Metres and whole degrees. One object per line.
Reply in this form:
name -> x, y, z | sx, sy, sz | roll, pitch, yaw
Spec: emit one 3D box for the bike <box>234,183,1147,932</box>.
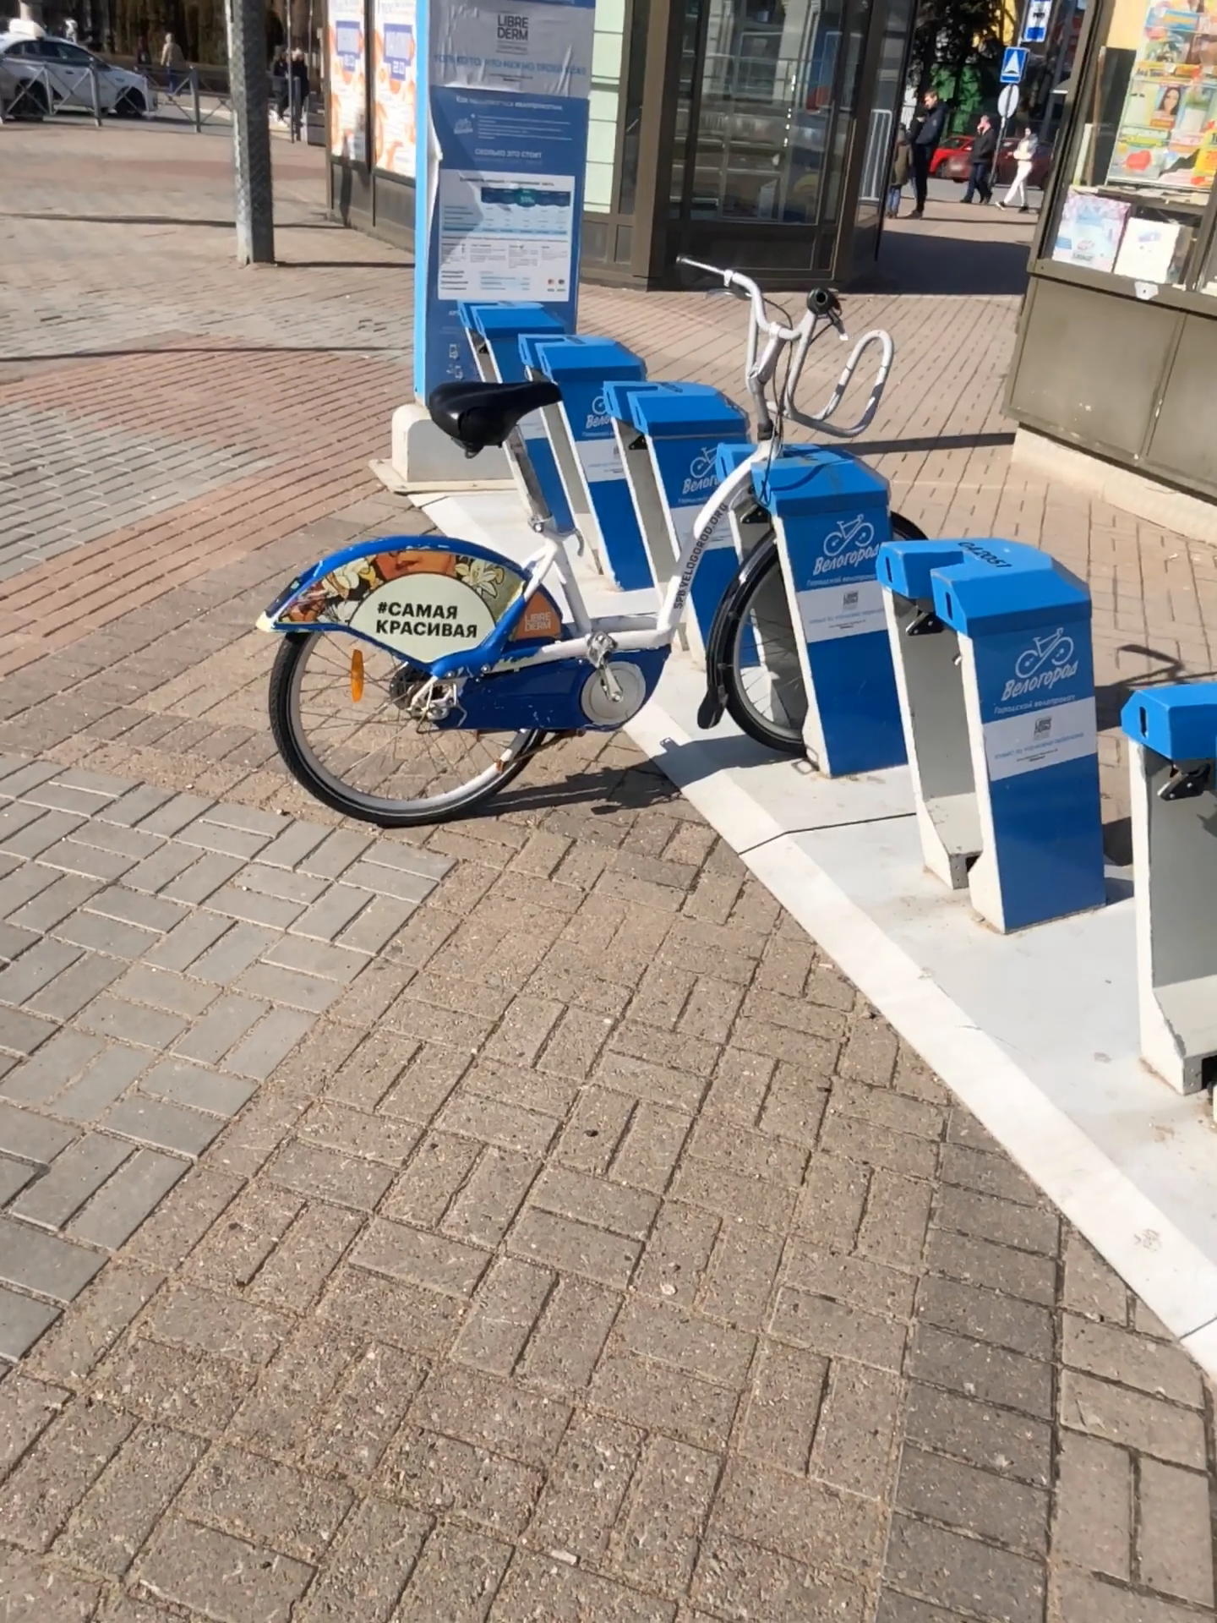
bike -> 0.108, -0.602, 2.826 | 1.627, 1.204, 0.598 | -10, 31, -20
